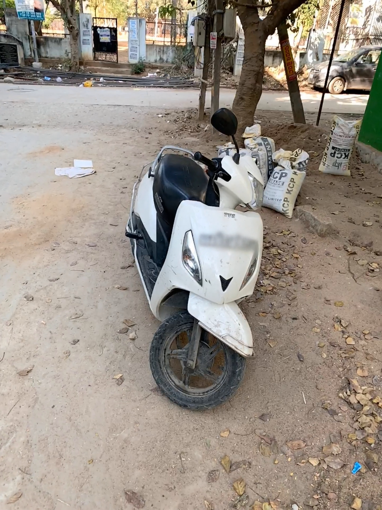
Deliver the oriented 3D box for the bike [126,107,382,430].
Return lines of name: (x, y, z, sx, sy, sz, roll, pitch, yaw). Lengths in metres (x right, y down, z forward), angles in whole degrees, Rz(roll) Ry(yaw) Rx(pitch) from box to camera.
bike: (0.141, -0.099, 2.158, 0.686, 1.066, 1.467, -7, 32, -19)
